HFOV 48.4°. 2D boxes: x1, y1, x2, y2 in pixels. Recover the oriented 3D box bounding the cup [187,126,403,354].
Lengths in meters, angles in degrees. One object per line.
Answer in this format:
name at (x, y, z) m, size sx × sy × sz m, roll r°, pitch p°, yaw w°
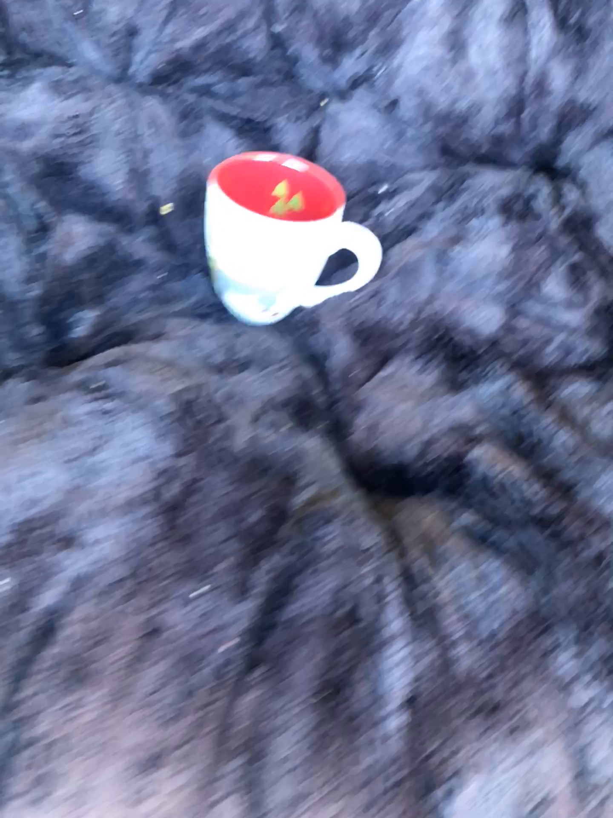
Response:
cup at (-0.011, -0.134, 0.546) m, size 0.140 × 0.110 × 0.100 m, roll 15°, pitch 50°, yaw 2°
